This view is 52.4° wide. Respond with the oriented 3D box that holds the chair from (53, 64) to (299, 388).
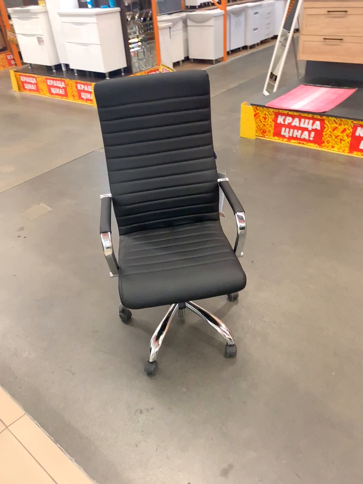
[{"bbox_3d":[-0.020,-0.067,1.548,0.650,1.075,0.683,-9,35,-5],"label":"chair"}]
